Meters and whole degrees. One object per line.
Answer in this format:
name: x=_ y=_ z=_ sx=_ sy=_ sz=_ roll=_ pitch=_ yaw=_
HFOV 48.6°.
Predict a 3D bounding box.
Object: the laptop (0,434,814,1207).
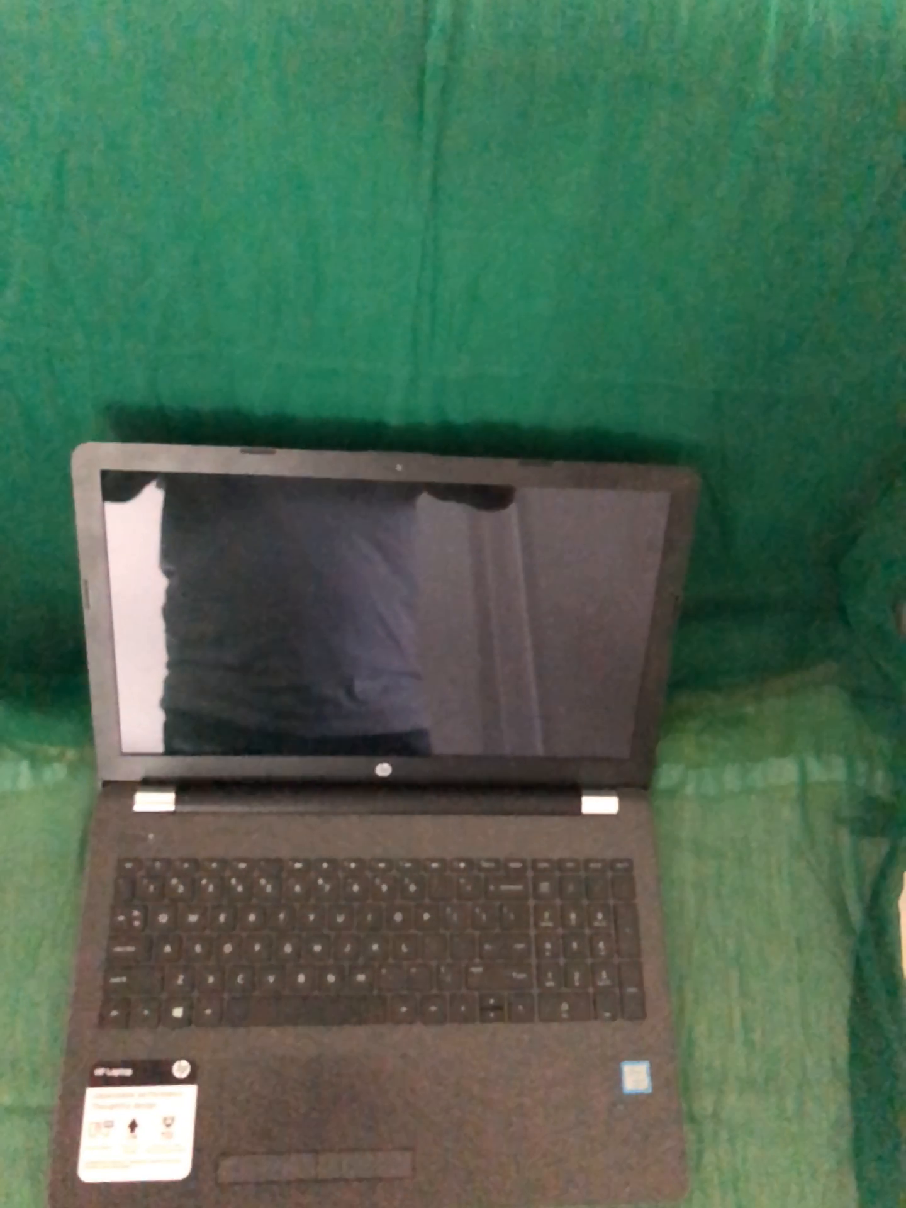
laptop: x=-0.036 y=0.132 z=0.600 sx=0.378 sy=0.179 sz=0.415 roll=2 pitch=66 yaw=-6
